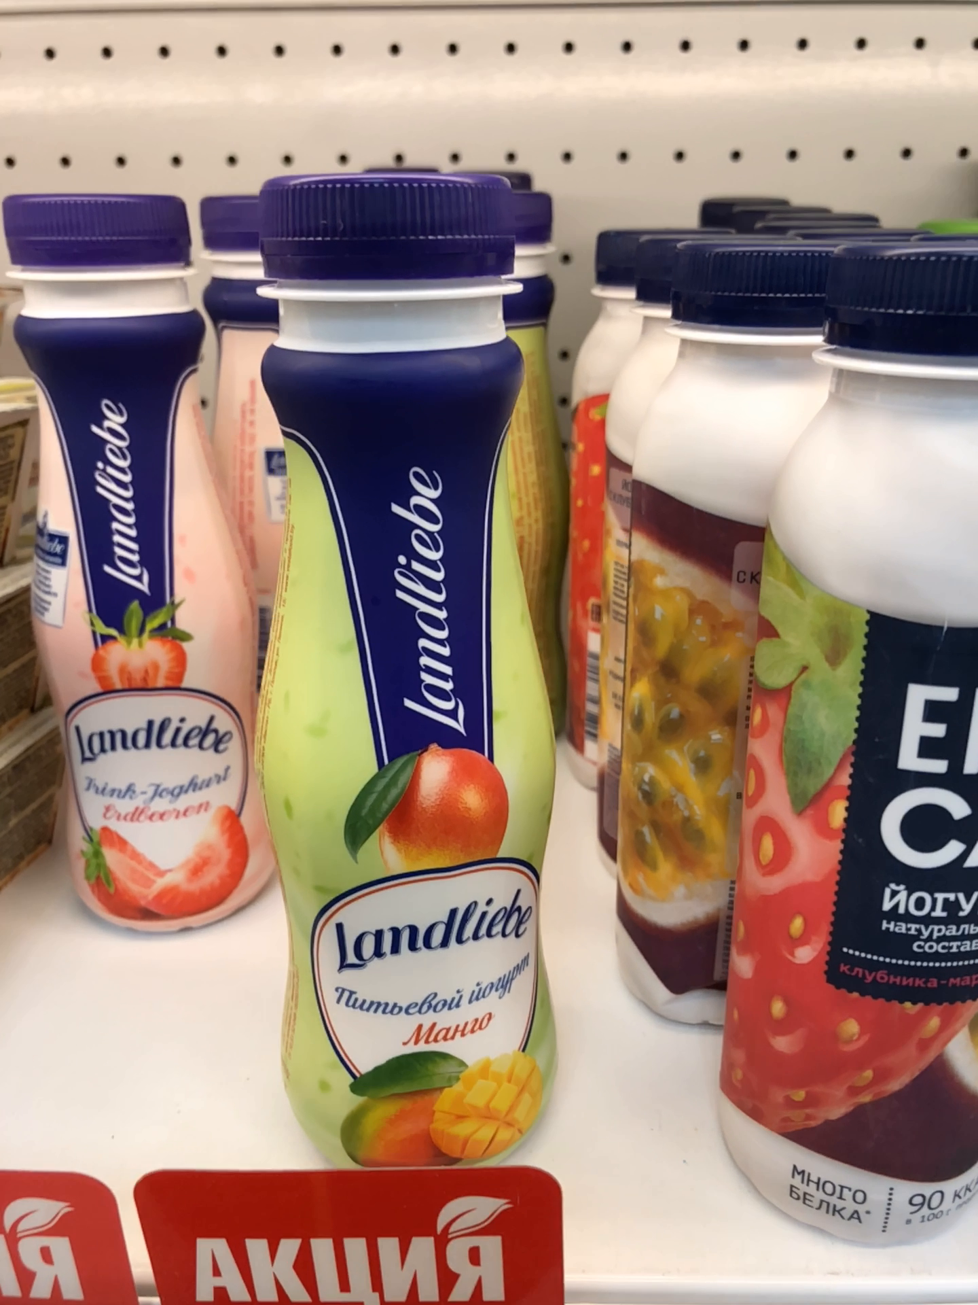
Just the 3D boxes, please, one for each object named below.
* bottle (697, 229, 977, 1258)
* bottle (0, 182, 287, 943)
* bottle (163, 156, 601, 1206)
[{"bbox_3d":[0.071,0.021,0.189,0.051,0.173,0.048,-1,22,0],"label":"bottle"},{"bbox_3d":[-0.089,-0.020,0.274,0.056,0.178,0.054,-1,22,0],"label":"bottle"},{"bbox_3d":[-0.015,0.009,0.196,0.055,0.177,0.054,-1,22,0],"label":"bottle"}]
